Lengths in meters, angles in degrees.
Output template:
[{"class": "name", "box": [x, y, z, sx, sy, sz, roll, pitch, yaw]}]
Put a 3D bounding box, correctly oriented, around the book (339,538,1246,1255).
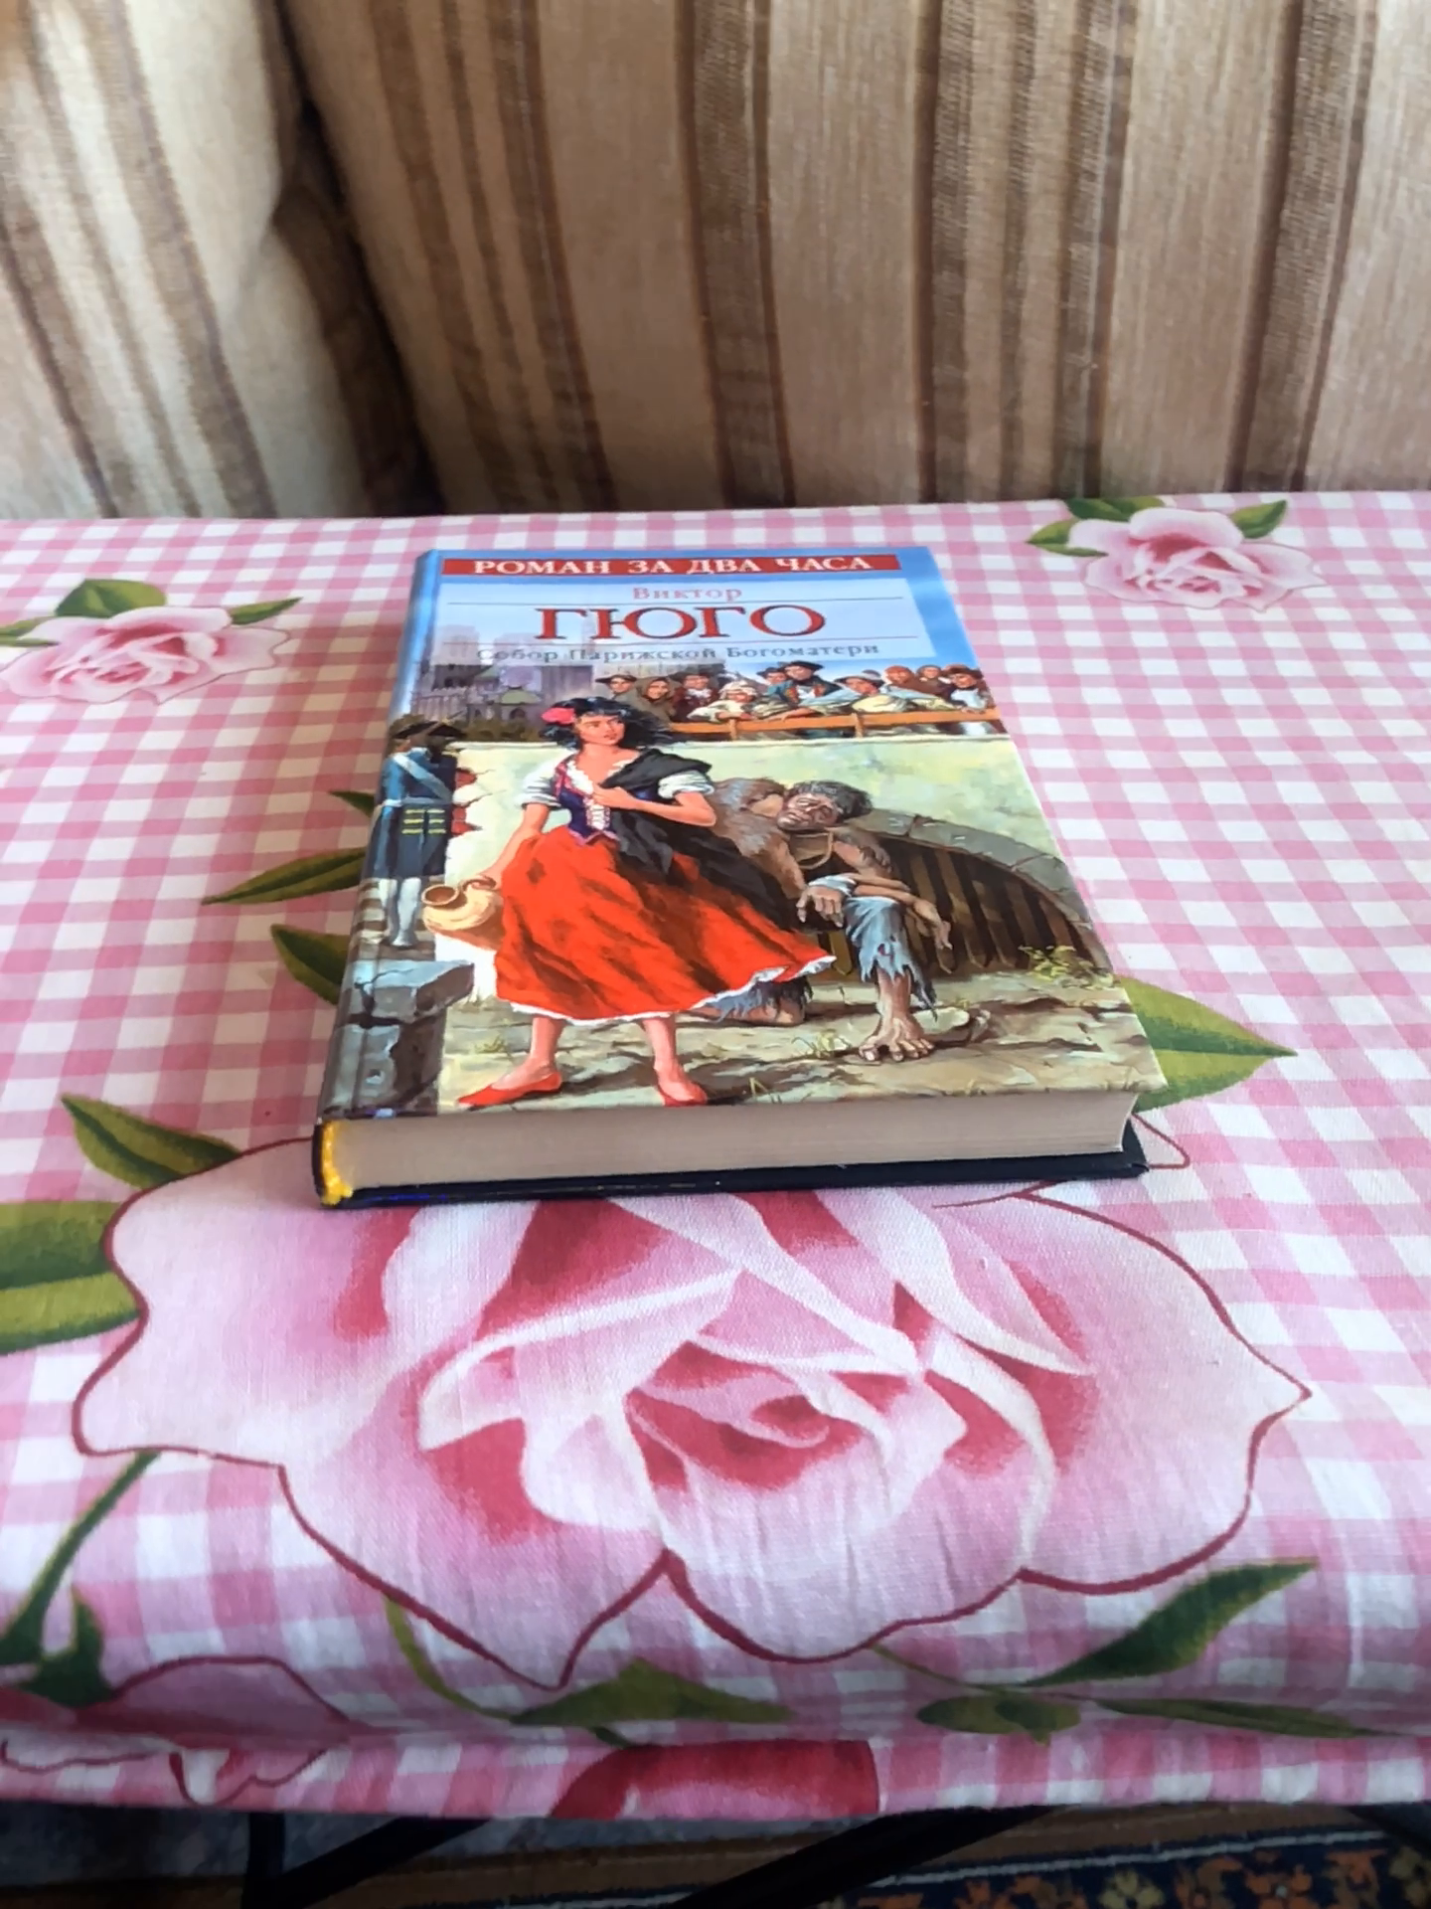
[{"class": "book", "box": [0.005, -0.030, 0.327, 0.136, 0.027, 0.208, -2, 38, -4]}]
